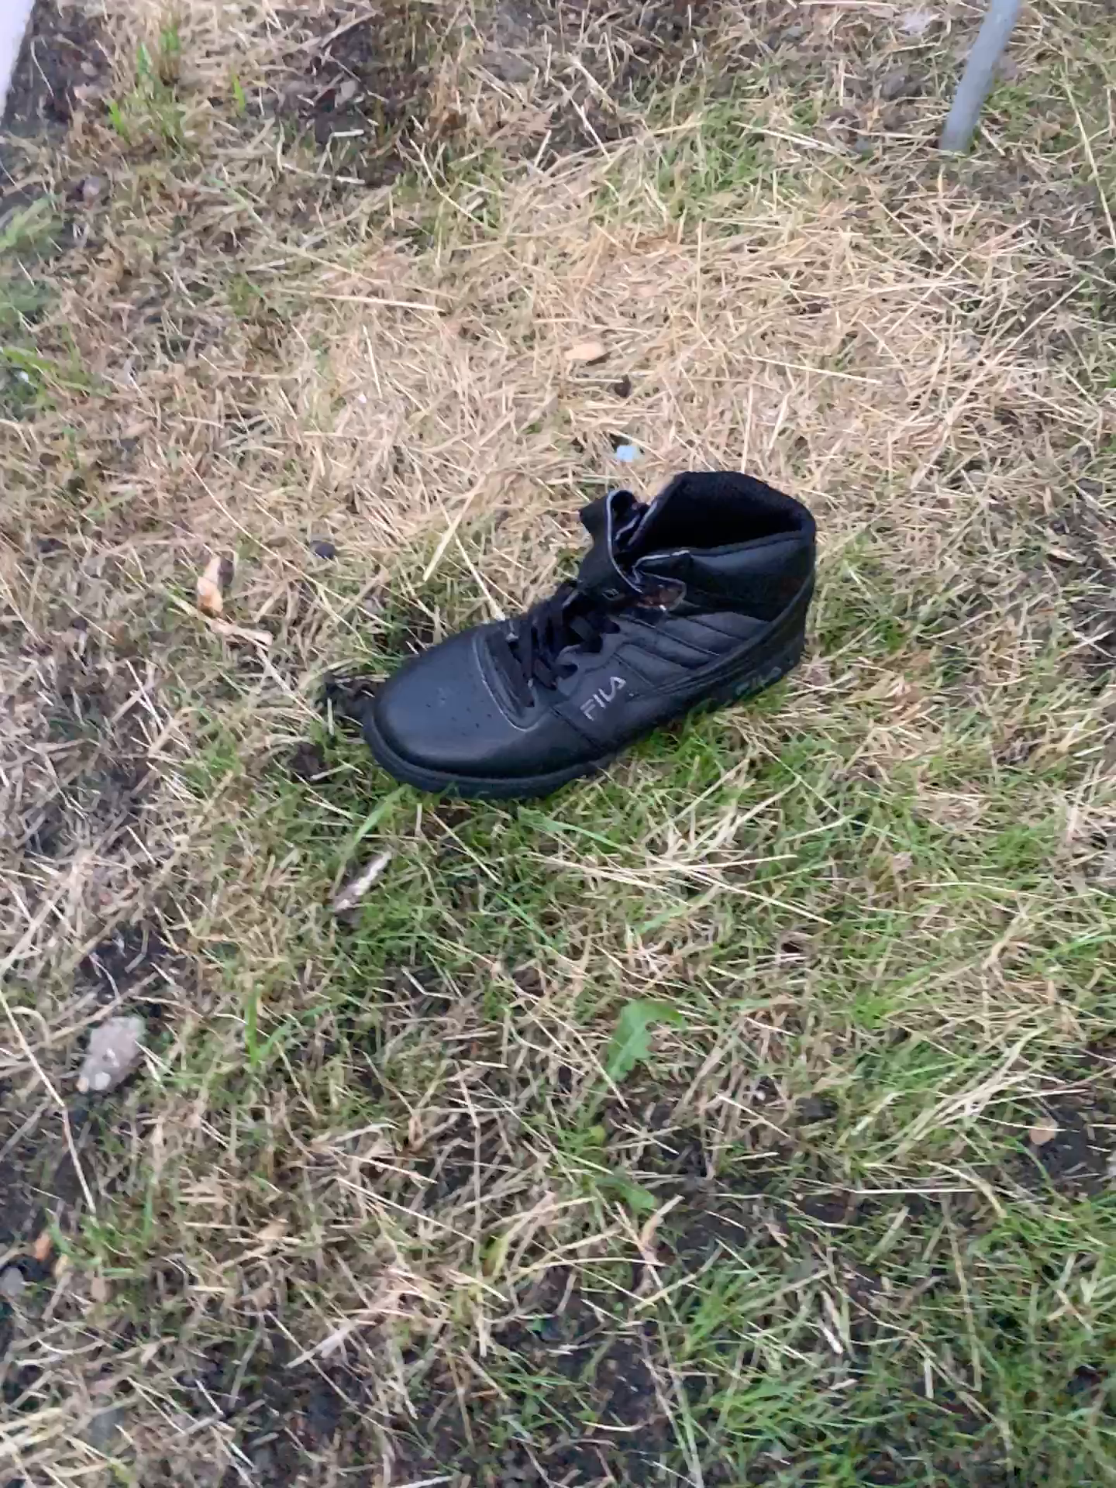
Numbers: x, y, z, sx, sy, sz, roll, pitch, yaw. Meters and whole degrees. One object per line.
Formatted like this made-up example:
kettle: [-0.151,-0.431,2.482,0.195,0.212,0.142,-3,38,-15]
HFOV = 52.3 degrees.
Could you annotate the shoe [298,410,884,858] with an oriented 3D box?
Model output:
shoe: [0.015,-0.054,0.603,0.260,0.139,0.100,-21,68,-11]
